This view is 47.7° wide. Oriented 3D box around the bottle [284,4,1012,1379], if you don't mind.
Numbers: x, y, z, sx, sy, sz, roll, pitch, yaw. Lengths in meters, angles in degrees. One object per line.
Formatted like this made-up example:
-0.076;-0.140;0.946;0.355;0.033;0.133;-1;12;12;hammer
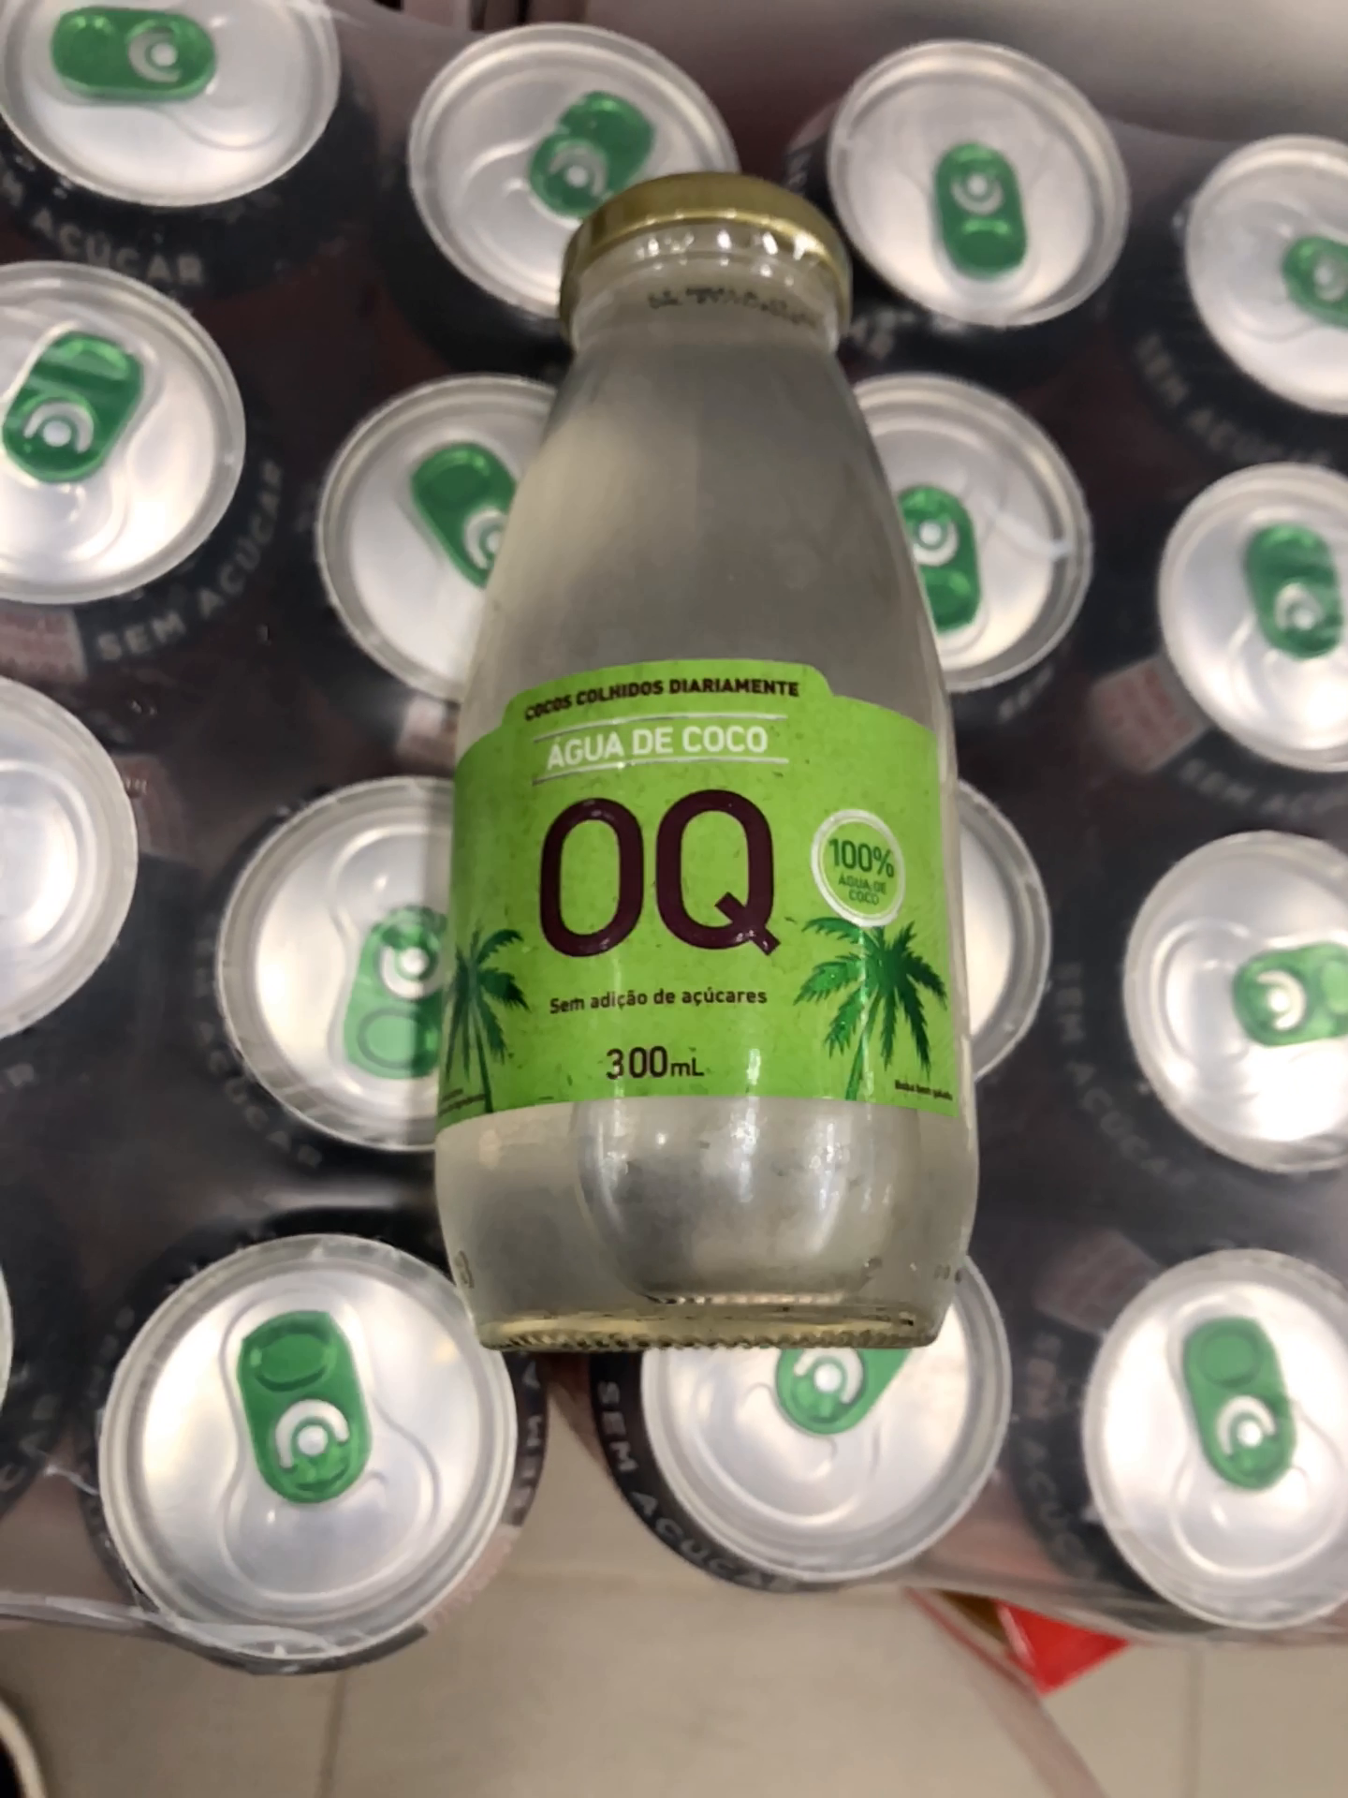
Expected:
-0.004;-0.022;0.193;0.070;0.060;0.150;-6;75;8;bottle
